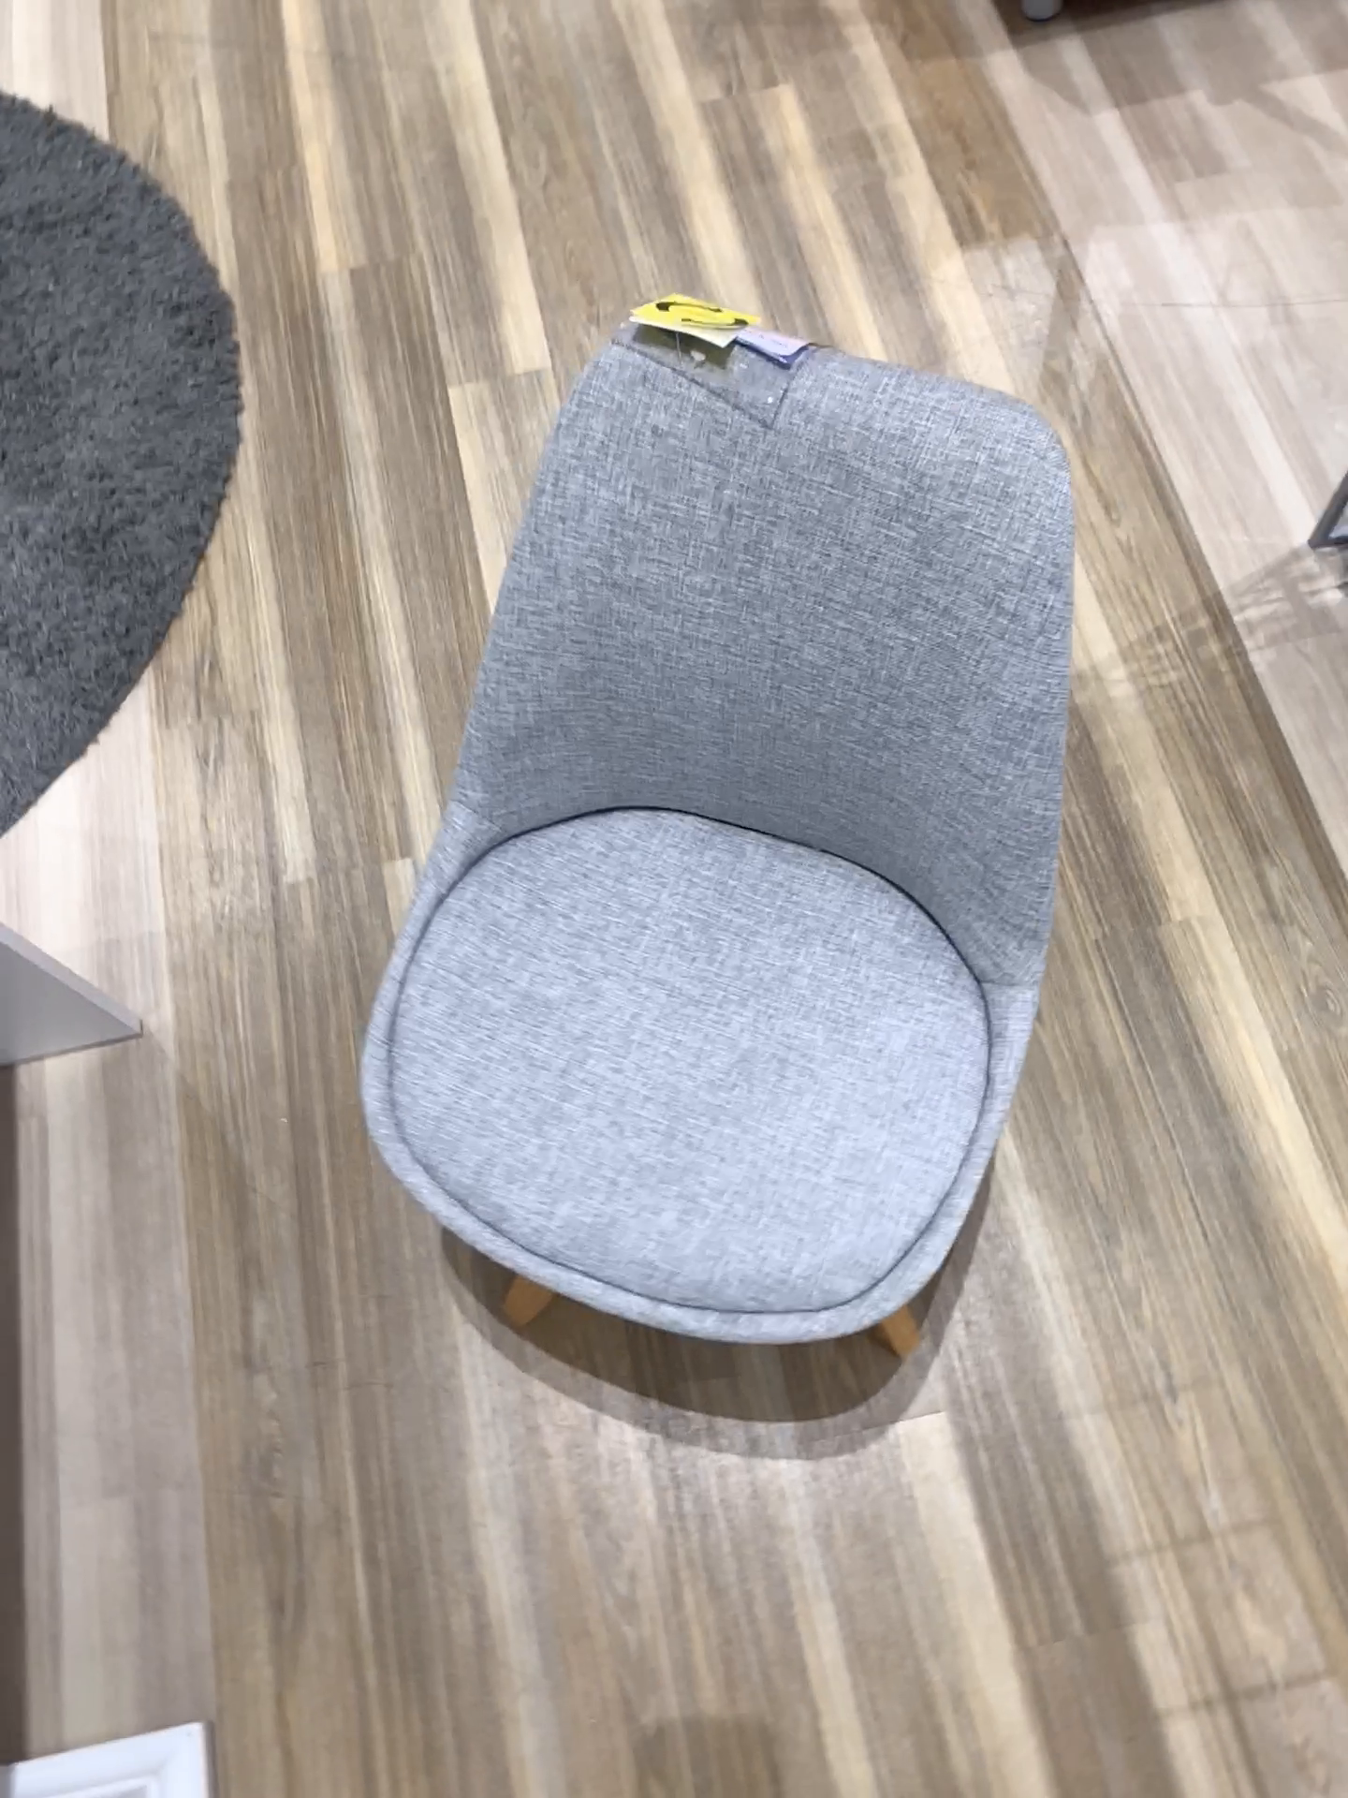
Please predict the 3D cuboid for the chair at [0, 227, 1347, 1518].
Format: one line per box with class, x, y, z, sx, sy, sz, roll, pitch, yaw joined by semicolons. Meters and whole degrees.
chair;0.041;0.087;1.024;0.513;0.858;0.516;17;70;11
